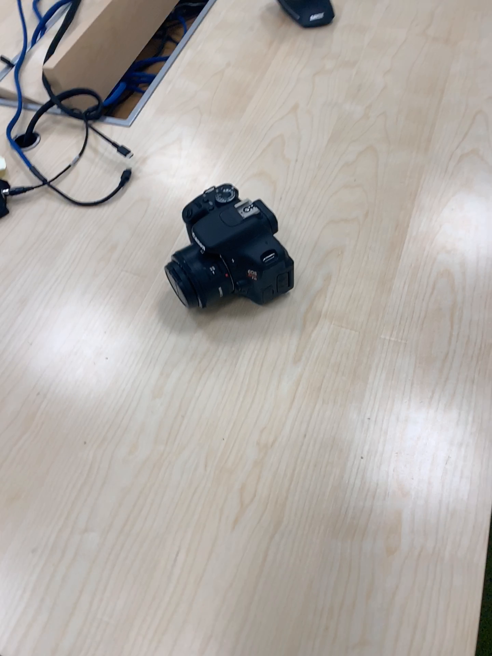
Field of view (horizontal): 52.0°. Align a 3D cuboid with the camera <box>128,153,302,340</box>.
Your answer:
[{"bbox_3d":[-0.029,-0.086,0.527,0.120,0.090,0.130,-32,62,-12],"label":"camera"}]
